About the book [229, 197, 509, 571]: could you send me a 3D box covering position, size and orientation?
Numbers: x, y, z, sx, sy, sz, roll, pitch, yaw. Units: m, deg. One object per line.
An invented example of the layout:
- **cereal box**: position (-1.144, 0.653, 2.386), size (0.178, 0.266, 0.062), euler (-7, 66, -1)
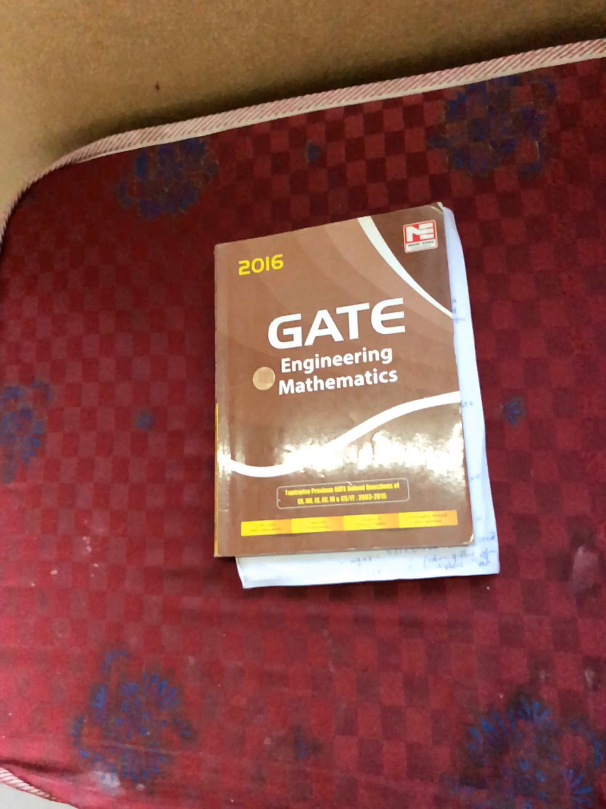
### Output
- **book**: position (0.047, -0.015, 0.579), size (0.220, 0.040, 0.300), euler (-6, 74, 16)
